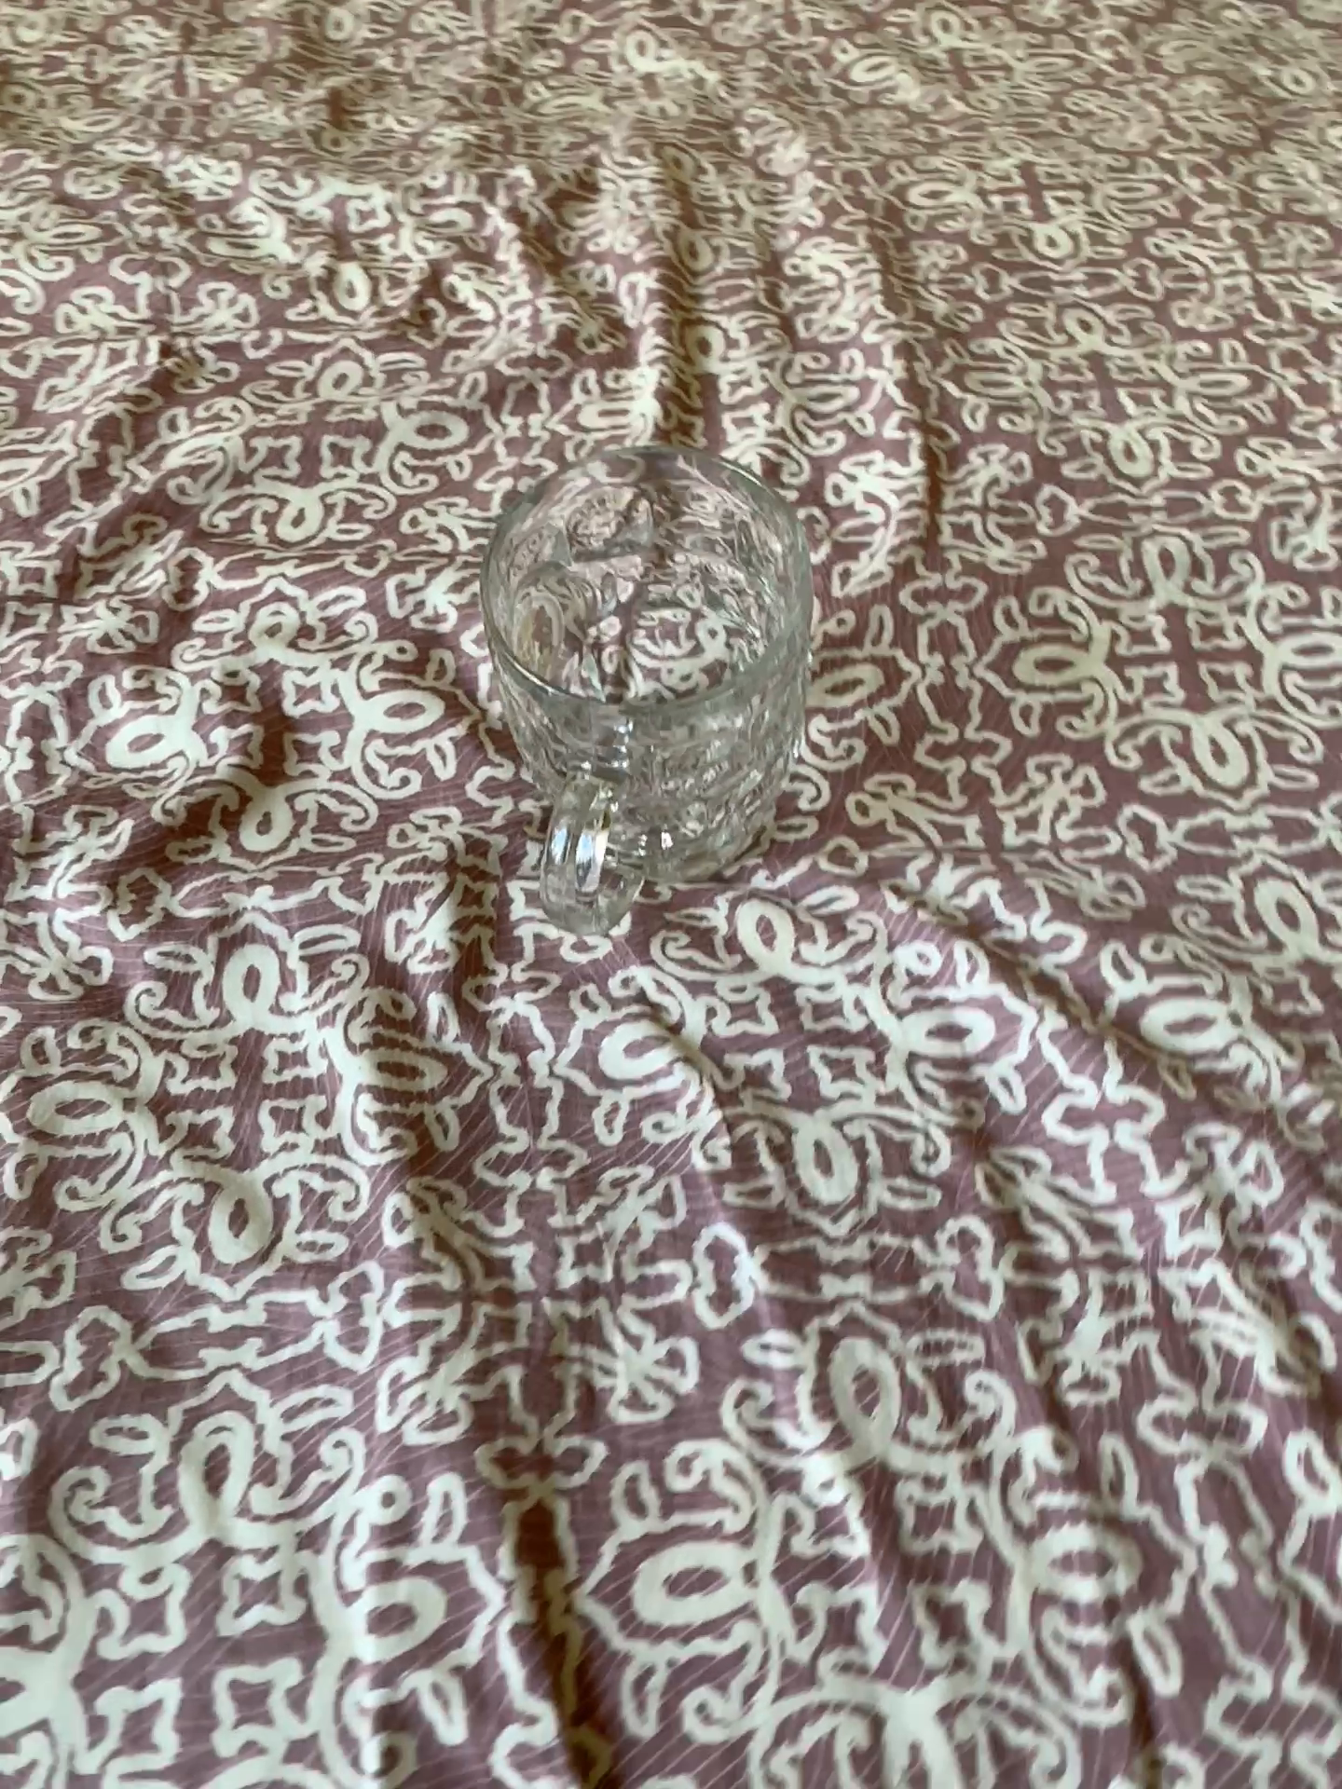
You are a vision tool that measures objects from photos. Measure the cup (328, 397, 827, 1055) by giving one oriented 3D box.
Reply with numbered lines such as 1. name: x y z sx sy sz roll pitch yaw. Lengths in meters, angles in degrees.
1. cup: -0.016 -0.047 0.384 0.090 0.109 0.131 11 56 10
